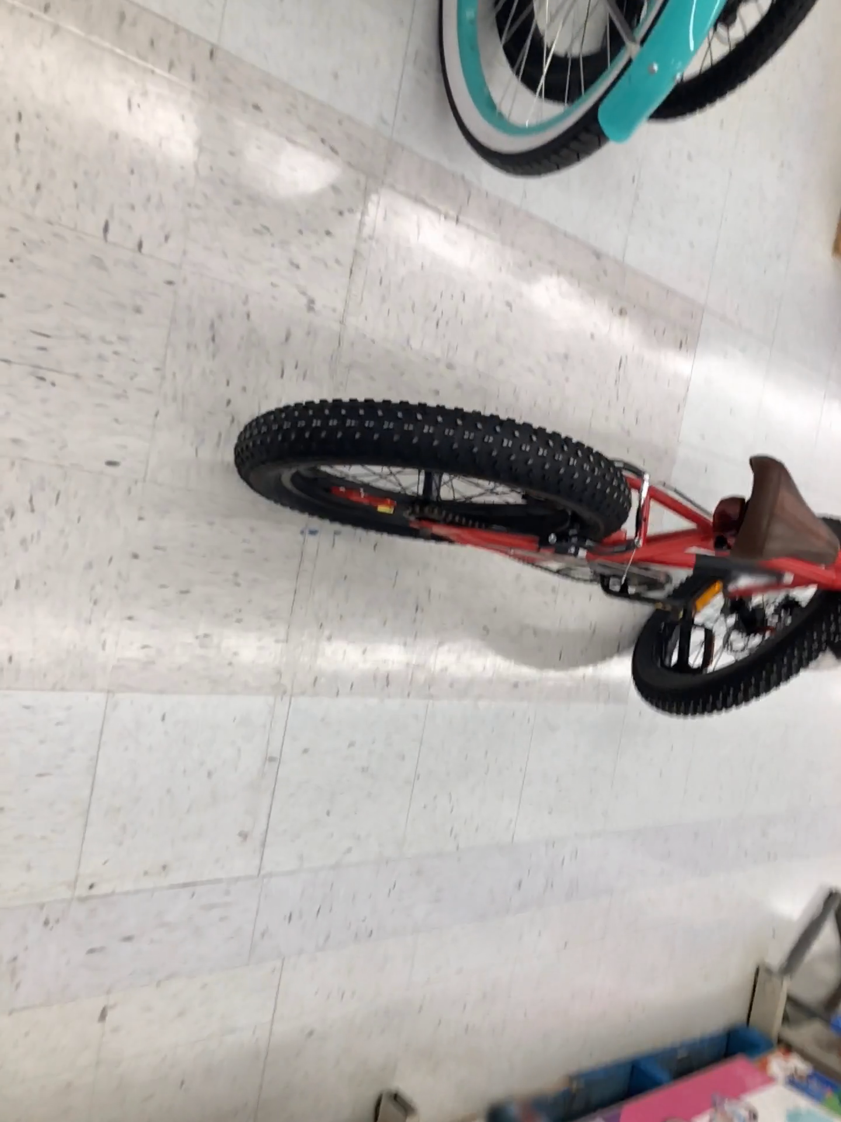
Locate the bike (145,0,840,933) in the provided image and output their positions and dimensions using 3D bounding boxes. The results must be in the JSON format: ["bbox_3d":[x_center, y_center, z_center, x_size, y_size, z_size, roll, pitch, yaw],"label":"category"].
[{"bbox_3d":[0.423,-0.062,1.430,1.364,0.968,0.607,8,94,-44],"label":"bike"}]
